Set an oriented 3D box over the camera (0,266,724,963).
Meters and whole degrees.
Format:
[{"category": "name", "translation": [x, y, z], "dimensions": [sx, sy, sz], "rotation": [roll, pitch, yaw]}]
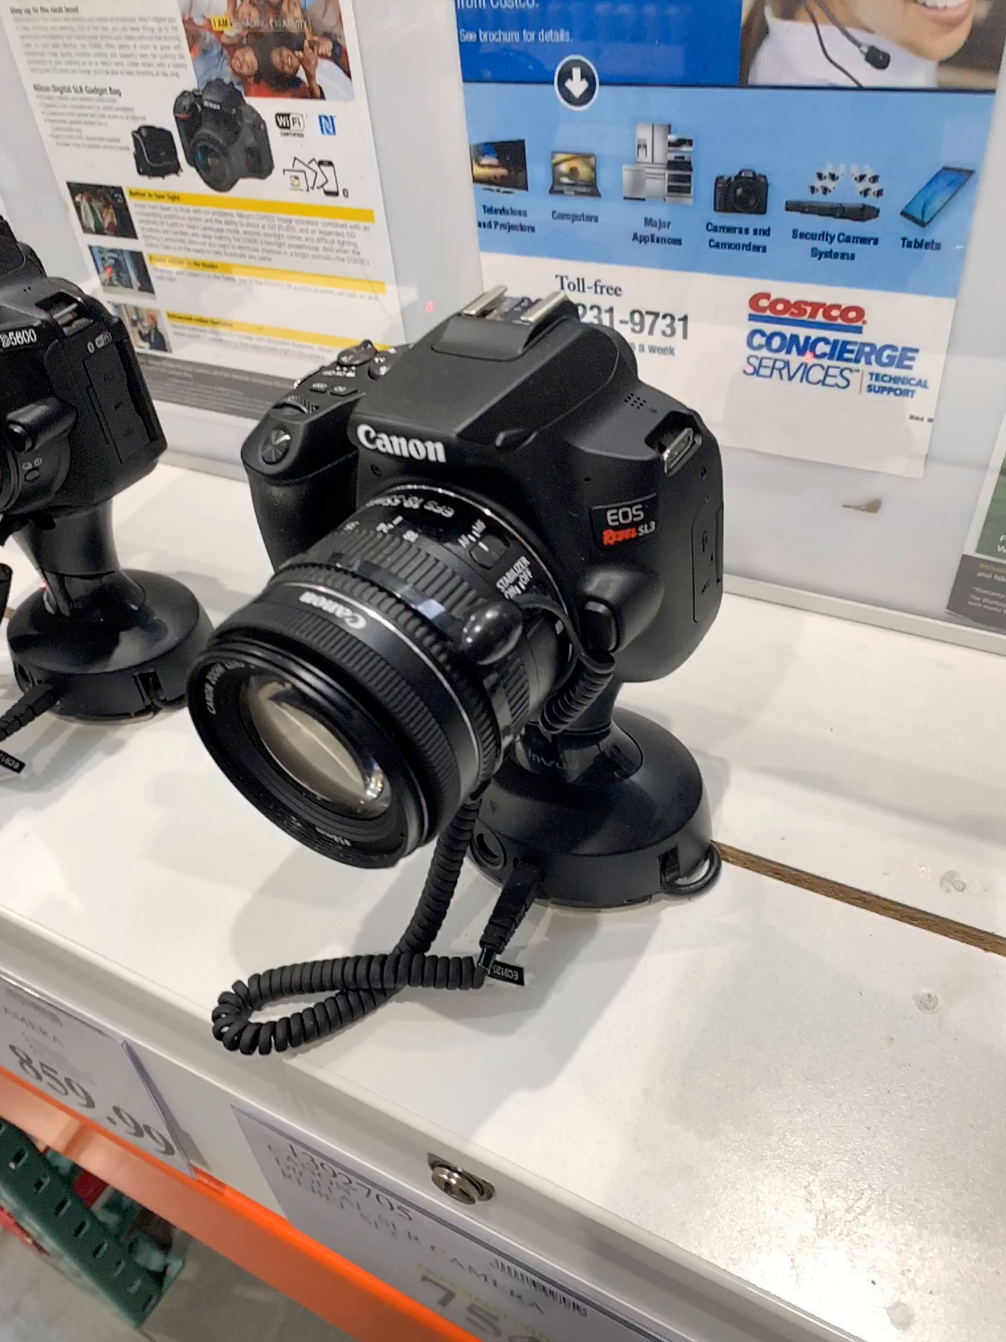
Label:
[{"category": "camera", "translation": [-0.027, -0.024, 0.238], "dimensions": [0.120, 0.089, 0.111], "rotation": [15, 46, 27]}]
